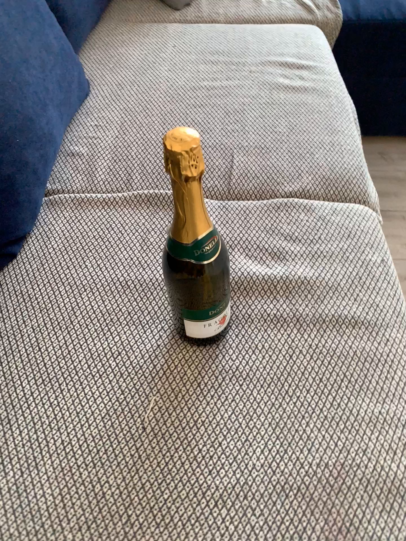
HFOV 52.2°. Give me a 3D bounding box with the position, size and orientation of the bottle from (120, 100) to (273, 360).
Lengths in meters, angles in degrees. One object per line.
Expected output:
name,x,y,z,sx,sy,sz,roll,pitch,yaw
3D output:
bottle,-0.003,-0.021,0.462,0.090,0.289,0.090,-1,53,1
